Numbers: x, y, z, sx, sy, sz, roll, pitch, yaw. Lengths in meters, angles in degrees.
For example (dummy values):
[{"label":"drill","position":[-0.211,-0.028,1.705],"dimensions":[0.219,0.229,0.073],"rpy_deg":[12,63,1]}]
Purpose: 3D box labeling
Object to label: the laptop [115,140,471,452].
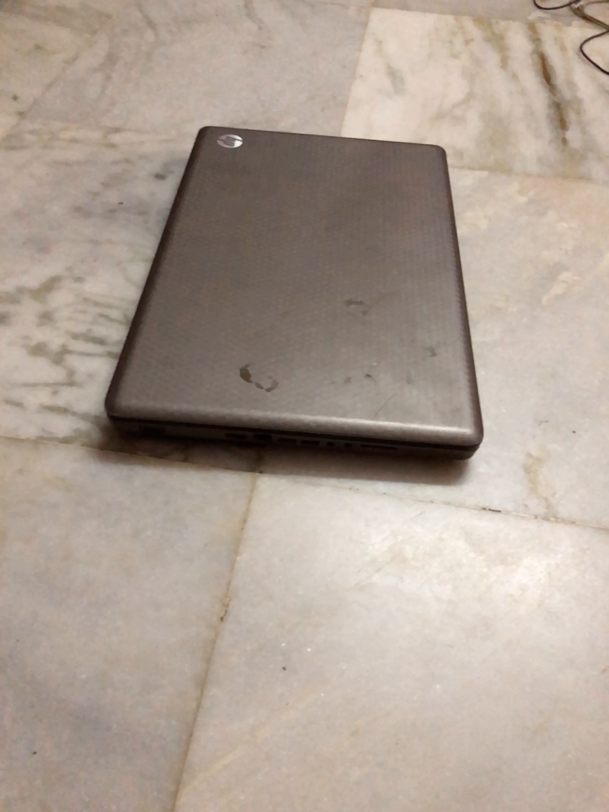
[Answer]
[{"label":"laptop","position":[0.007,-0.125,0.588],"dimensions":[0.248,0.002,0.380],"rpy_deg":[5,50,1]}]
